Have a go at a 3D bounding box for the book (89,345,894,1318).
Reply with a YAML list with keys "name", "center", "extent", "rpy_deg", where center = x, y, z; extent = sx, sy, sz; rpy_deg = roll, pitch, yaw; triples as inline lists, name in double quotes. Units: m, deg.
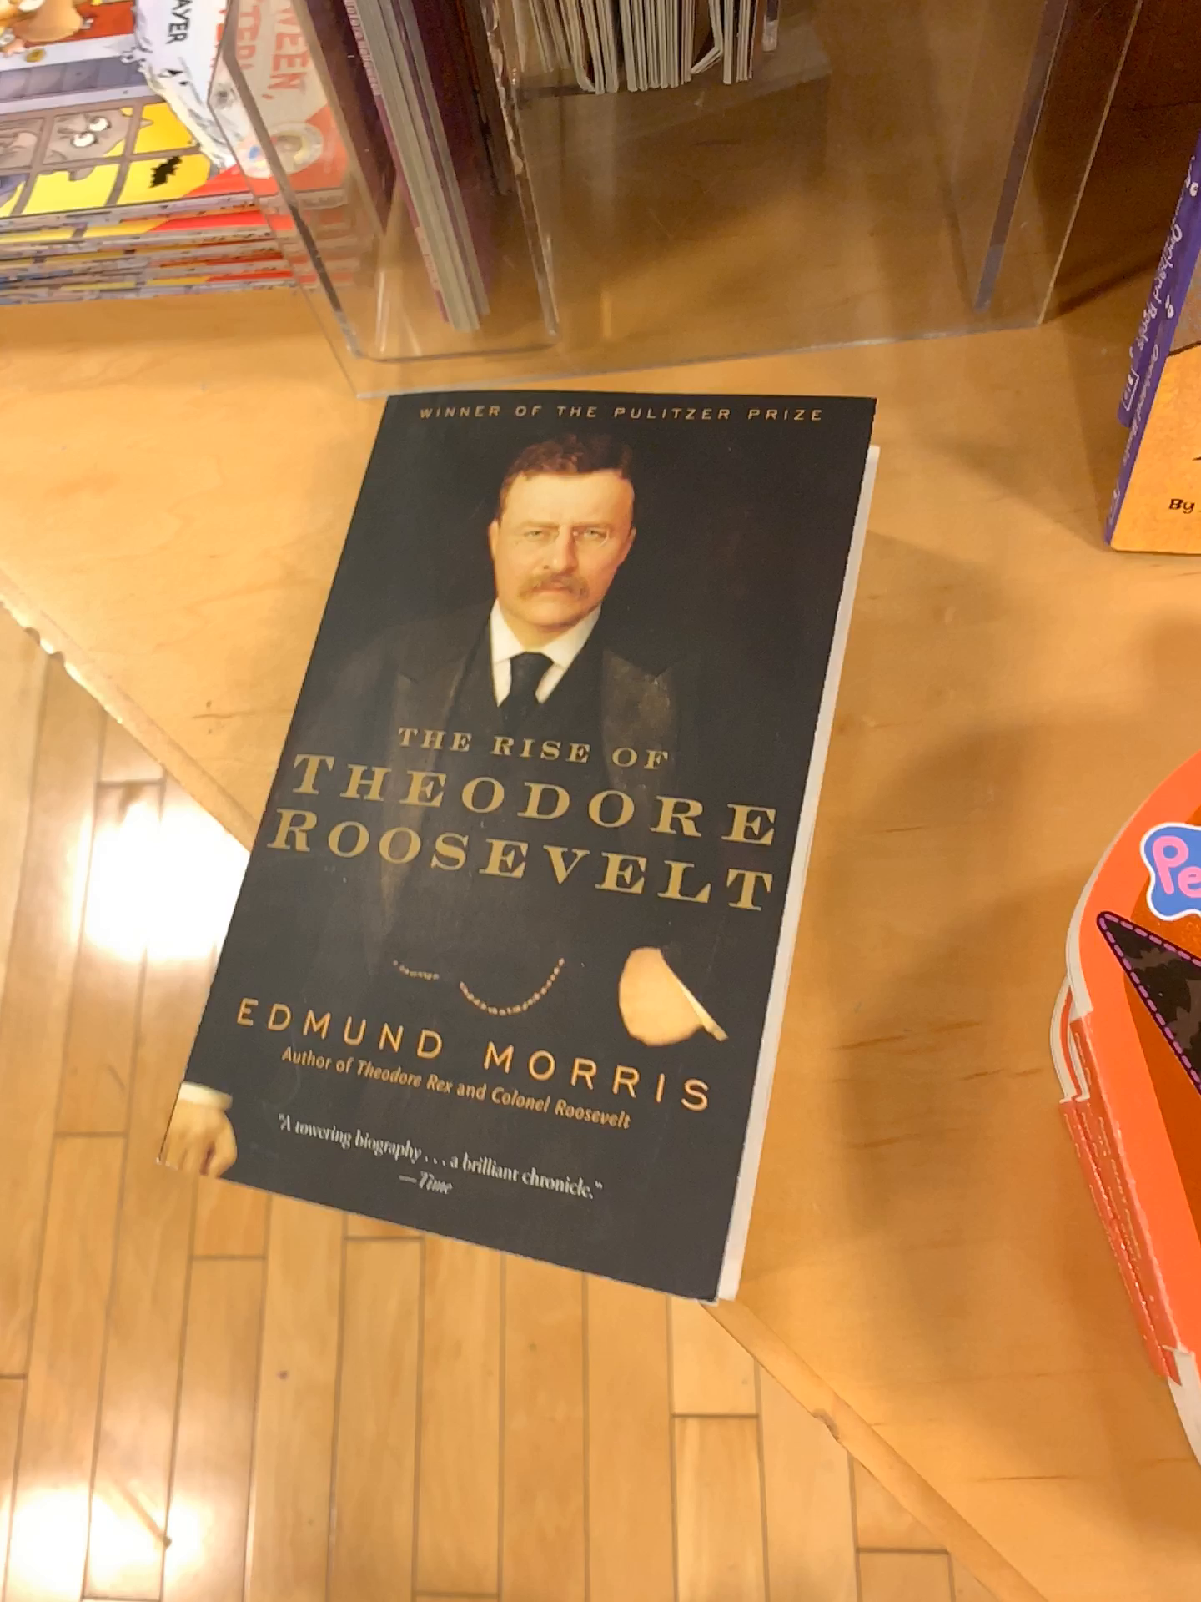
- name: "book"
  center: [-0.014, 0.001, 0.295]
  extent: [0.130, 0.066, 0.195]
  rpy_deg: [10, 74, 11]
